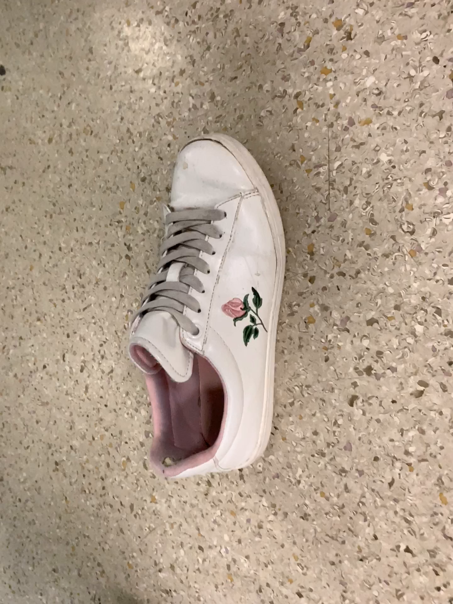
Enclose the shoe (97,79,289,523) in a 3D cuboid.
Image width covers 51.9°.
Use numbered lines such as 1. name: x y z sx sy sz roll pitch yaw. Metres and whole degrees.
1. shoe: -0.021 -0.001 0.333 0.099 0.092 0.255 1 92 34
